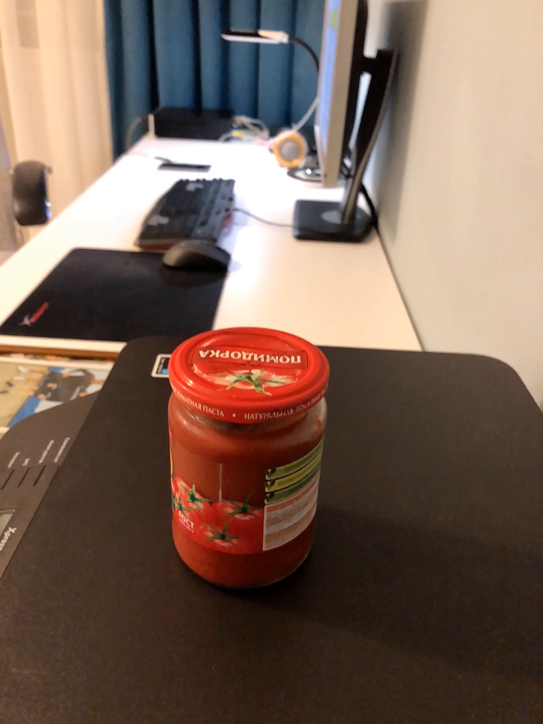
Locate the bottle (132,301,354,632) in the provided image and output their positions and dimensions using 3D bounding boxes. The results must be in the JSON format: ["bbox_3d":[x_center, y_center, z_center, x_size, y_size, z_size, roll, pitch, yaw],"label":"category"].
[{"bbox_3d":[-0.009,0.043,0.272,0.070,0.109,0.081,9,30,12],"label":"bottle"}]
